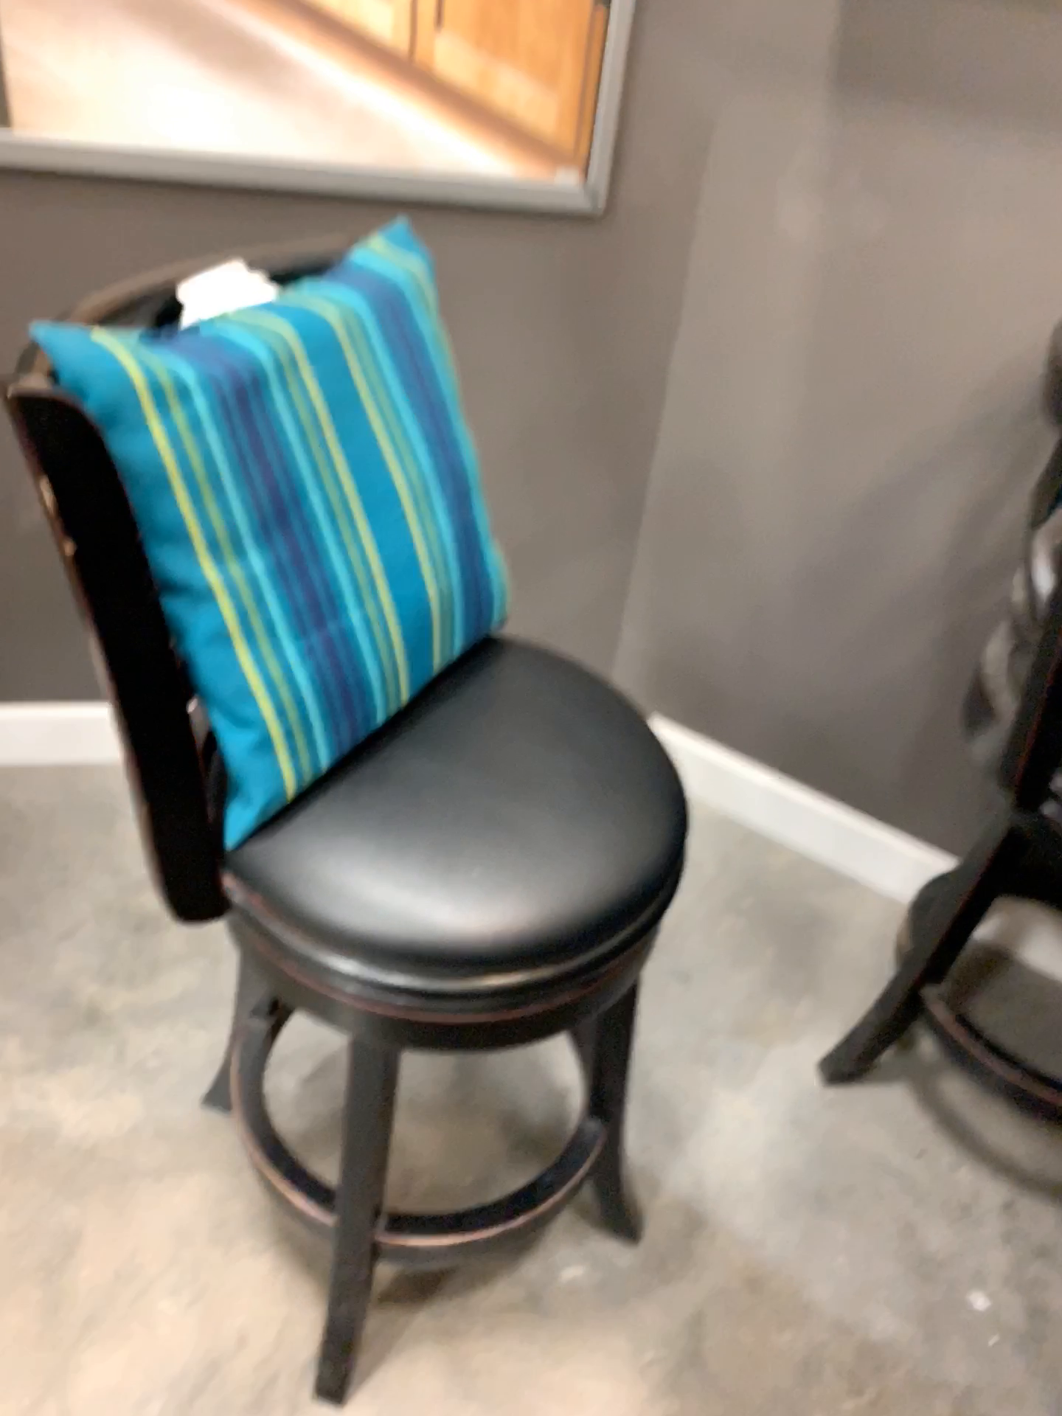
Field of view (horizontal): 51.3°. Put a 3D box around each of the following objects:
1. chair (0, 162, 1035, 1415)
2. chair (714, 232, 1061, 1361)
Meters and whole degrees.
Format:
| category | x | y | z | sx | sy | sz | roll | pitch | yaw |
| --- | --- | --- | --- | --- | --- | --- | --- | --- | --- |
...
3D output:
| category | x | y | z | sx | sy | sz | roll | pitch | yaw |
| --- | --- | --- | --- | --- | --- | --- | --- | --- | --- |
| chair | -0.103 | 0.112 | 0.948 | 0.596 | 0.904 | 0.537 | 27 | 39 | 24 |
| chair | 0.679 | 0.075 | 1.203 | 0.596 | 0.923 | 0.537 | 27 | 39 | 24 |
